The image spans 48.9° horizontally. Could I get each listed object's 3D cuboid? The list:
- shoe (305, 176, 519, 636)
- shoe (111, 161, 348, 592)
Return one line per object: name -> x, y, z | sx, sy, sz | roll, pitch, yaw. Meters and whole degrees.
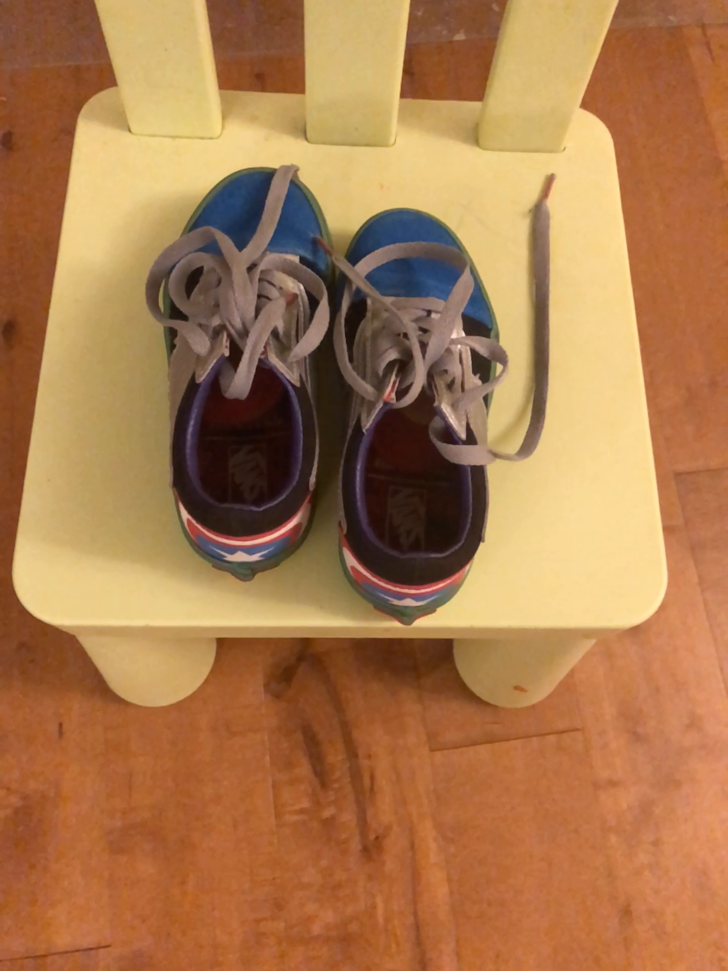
shoe -> 0.020, -0.034, 0.360 | 0.080, 0.070, 0.190 | 2, 73, -2
shoe -> -0.057, -0.050, 0.394 | 0.090, 0.080, 0.190 | 2, 73, -2
